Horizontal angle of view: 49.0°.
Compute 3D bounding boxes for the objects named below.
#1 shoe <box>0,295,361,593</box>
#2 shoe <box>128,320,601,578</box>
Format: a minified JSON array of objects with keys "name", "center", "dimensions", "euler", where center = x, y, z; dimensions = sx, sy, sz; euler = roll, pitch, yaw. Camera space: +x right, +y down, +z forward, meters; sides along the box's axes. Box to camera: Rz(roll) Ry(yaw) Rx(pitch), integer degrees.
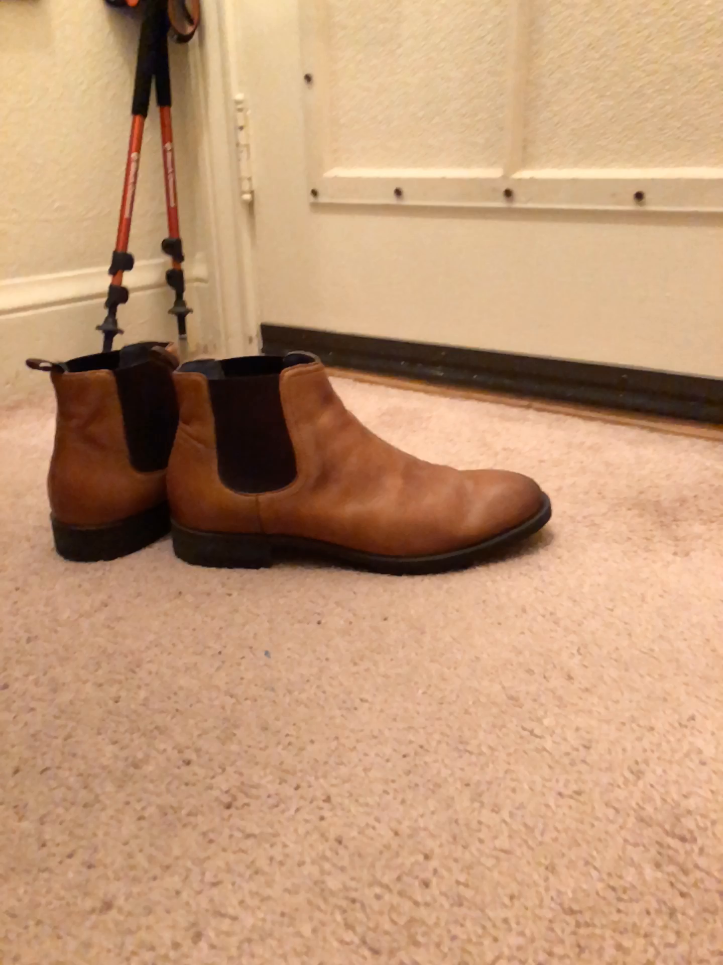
[{"name":"shoe","center":[-0.142,-0.055,0.703],"dimensions":[0.109,0.165,0.313],"euler":[16,28,36]},{"name":"shoe","center":[0.004,-0.028,0.604],"dimensions":[0.312,0.165,0.110],"euler":[0,22,3]}]
